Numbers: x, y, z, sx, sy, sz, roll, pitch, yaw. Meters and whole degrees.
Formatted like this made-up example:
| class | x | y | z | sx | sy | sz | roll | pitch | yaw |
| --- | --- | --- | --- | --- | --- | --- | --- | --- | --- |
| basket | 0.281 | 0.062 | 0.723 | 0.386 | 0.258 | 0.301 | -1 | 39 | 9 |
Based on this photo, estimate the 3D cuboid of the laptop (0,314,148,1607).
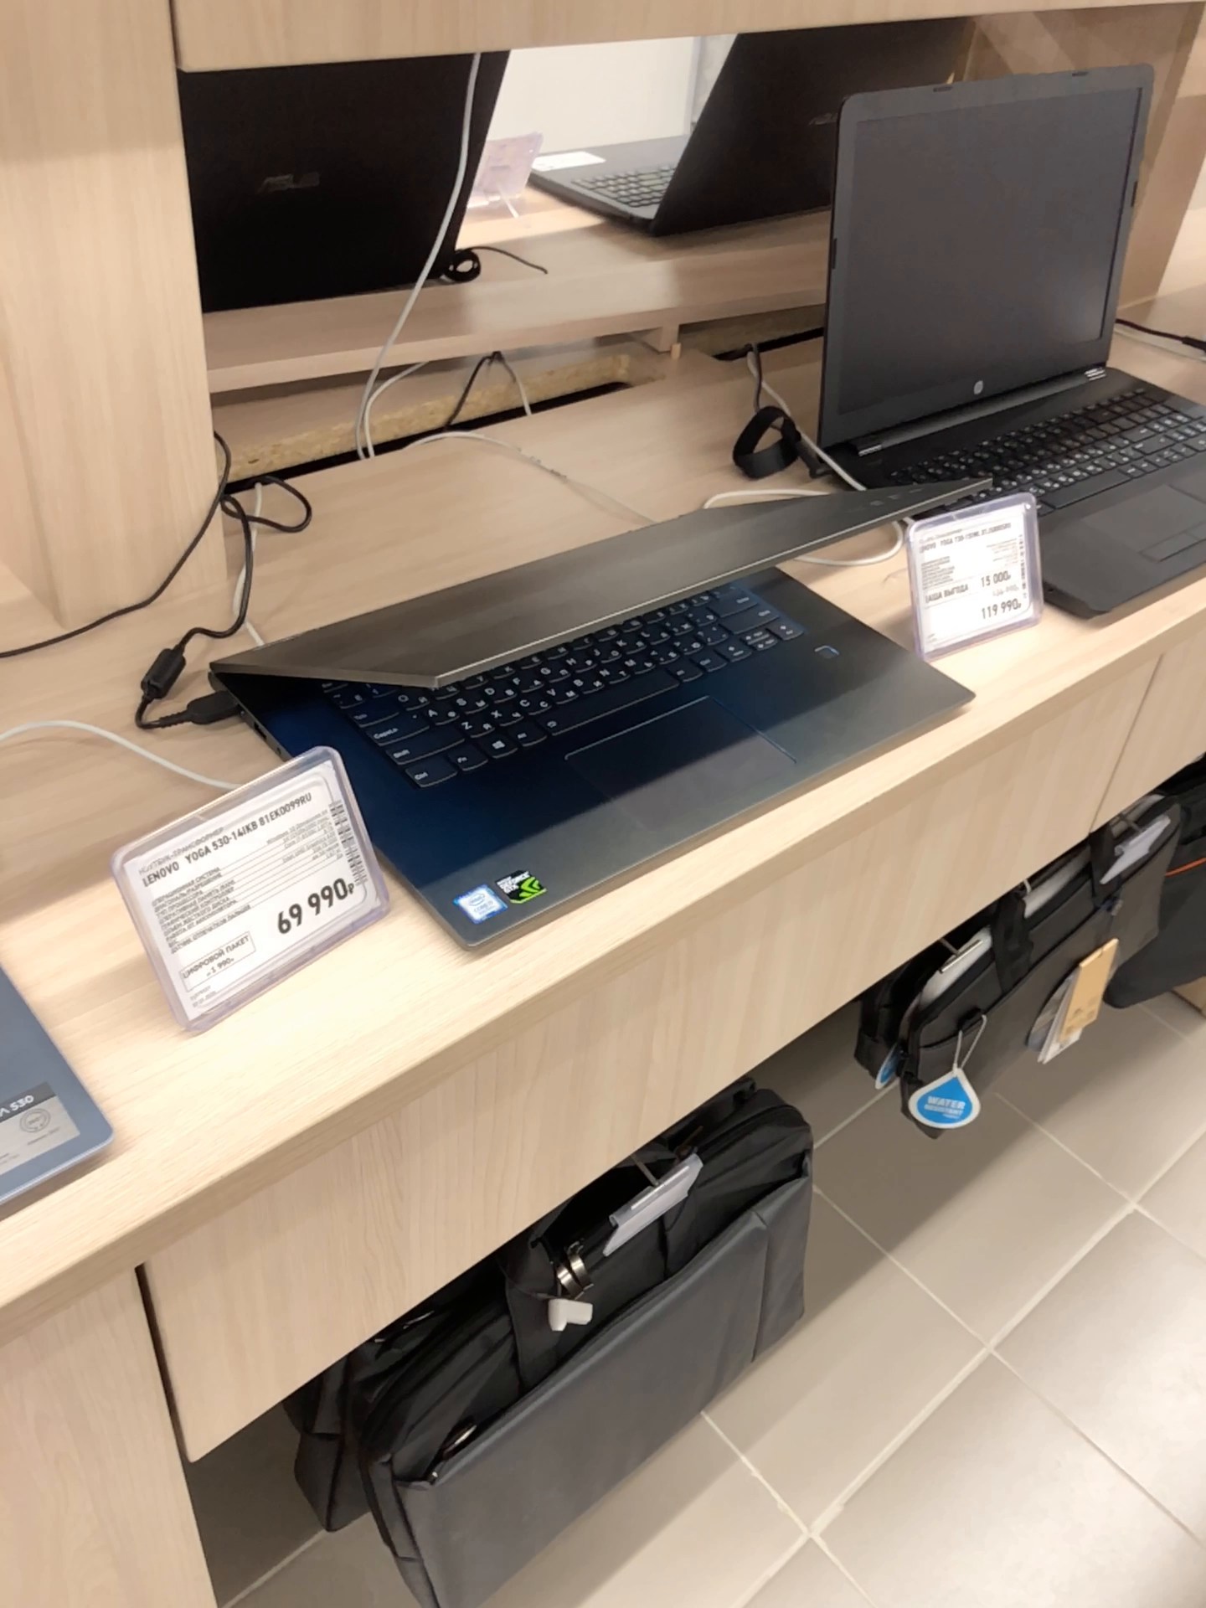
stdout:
| class | x | y | z | sx | sy | sz | roll | pitch | yaw |
| --- | --- | --- | --- | --- | --- | --- | --- | --- | --- |
| laptop | -0.421 | 0.018 | 0.430 | 0.355 | 0.201 | 0.343 | -26 | 49 | -35 |

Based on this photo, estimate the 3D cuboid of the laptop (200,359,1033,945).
| class | x | y | z | sx | sy | sz | roll | pitch | yaw |
| --- | --- | --- | --- | --- | --- | --- | --- | --- | --- |
| laptop | 0.012 | -0.111 | 0.724 | 0.363 | 0.118 | 0.243 | -24 | 49 | -33 |

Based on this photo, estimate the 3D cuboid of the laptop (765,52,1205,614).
| class | x | y | z | sx | sy | sz | roll | pitch | yaw |
| --- | --- | --- | --- | --- | --- | --- | --- | --- | --- |
| laptop | 0.393 | -0.378 | 1.000 | 0.403 | 0.240 | 0.304 | -26 | 51 | -34 |
